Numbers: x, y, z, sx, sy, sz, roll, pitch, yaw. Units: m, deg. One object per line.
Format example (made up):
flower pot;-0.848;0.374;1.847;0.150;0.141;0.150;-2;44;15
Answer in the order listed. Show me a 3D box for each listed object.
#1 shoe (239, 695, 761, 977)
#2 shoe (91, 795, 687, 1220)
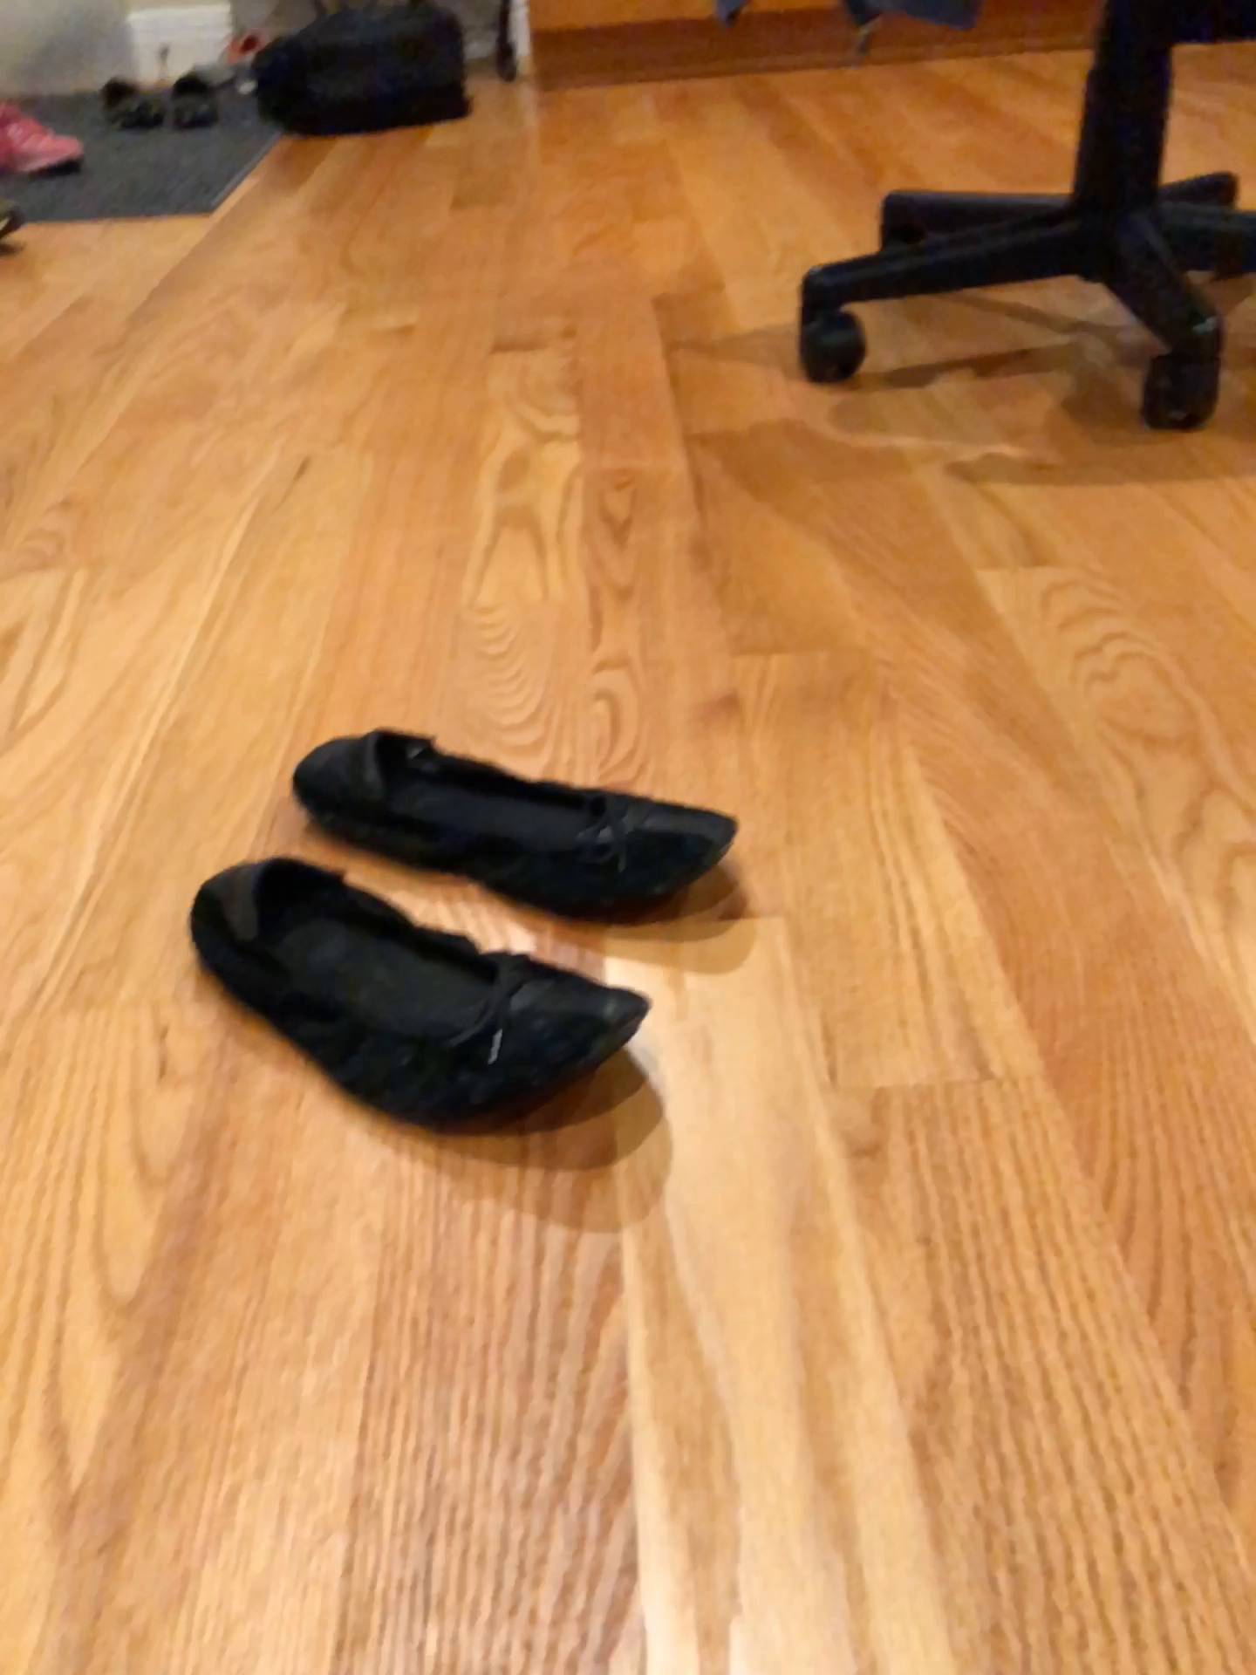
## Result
shoe;-0.058;-0.007;0.642;0.220;0.046;0.093;12;37;22
shoe;-0.097;0.057;0.554;0.220;0.050;0.100;19;40;29
